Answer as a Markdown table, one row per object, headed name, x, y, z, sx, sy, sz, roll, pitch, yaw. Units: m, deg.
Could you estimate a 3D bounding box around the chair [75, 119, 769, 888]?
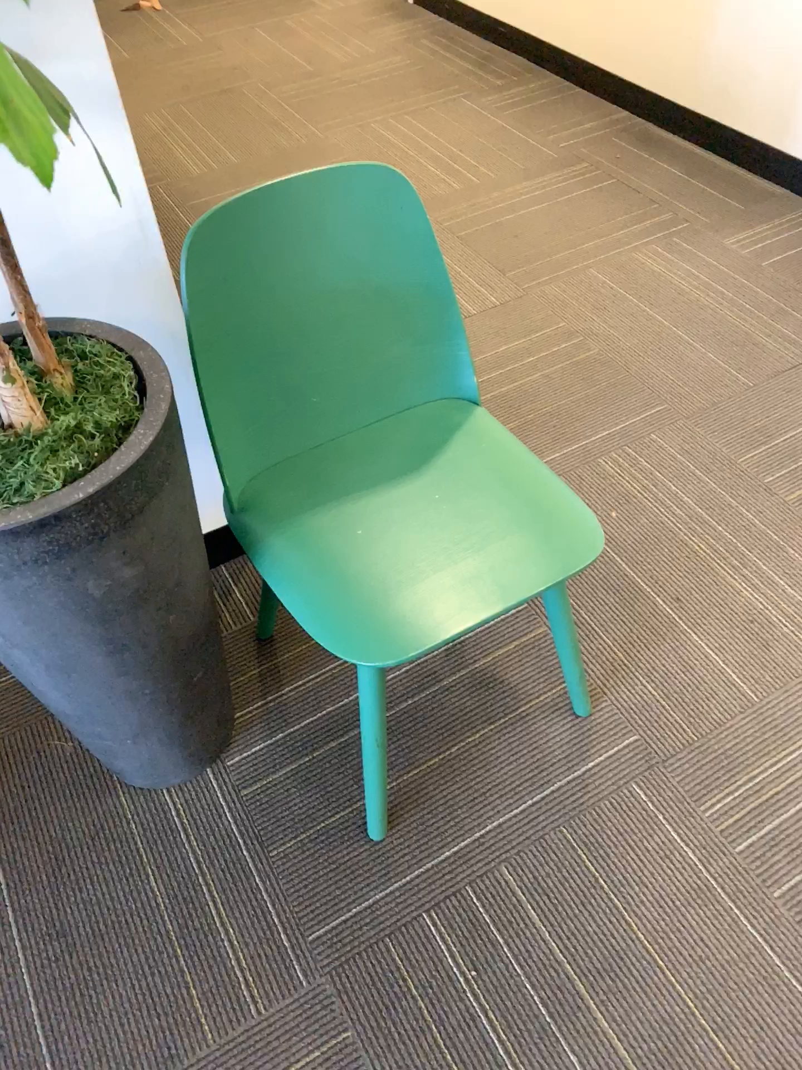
| name | x | y | z | sx | sy | sz | roll | pitch | yaw |
| --- | --- | --- | --- | --- | --- | --- | --- | --- | --- |
| chair | -0.004 | -0.032 | 1.146 | 0.500 | 0.746 | 0.603 | -25 | 52 | -17 |
